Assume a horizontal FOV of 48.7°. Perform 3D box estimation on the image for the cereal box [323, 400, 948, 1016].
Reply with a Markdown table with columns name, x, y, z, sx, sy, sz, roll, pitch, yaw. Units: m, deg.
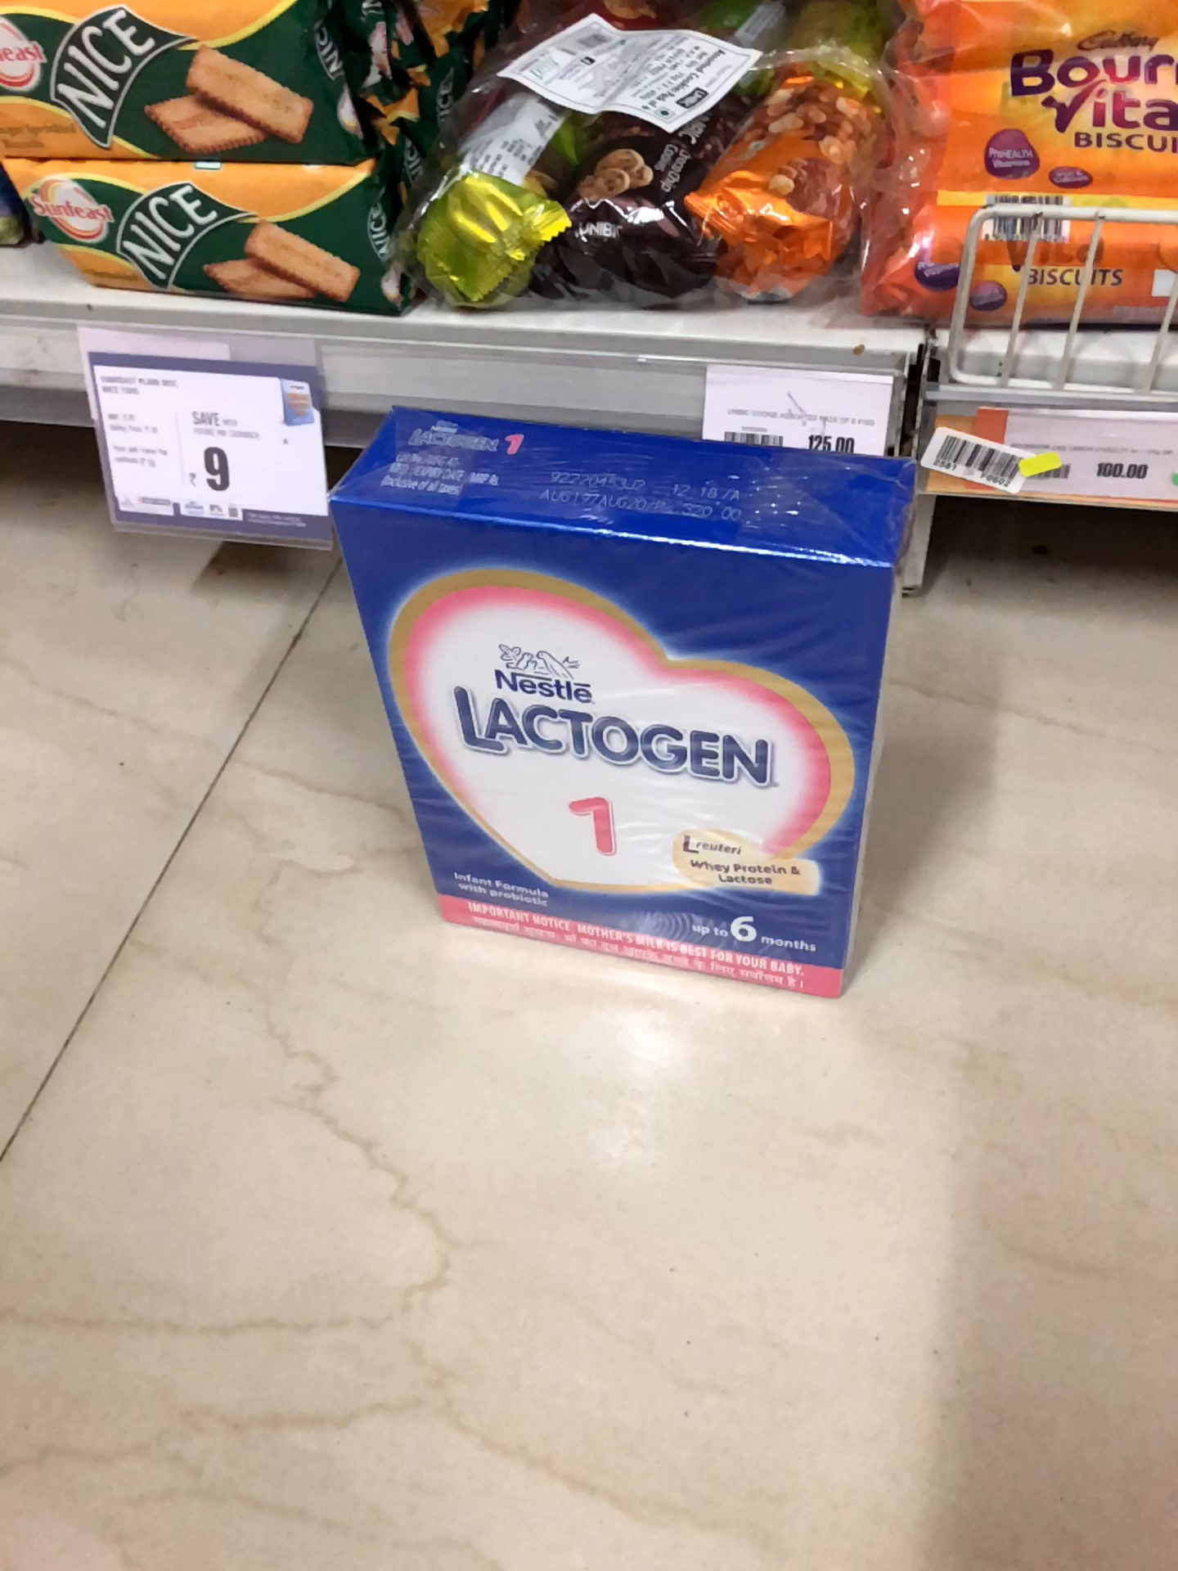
| name | x | y | z | sx | sy | sz | roll | pitch | yaw |
| --- | --- | --- | --- | --- | --- | --- | --- | --- | --- |
| cereal box | 0.018 | -0.015 | 0.399 | 0.150 | 0.189 | 0.050 | 9 | 51 | 13 |
